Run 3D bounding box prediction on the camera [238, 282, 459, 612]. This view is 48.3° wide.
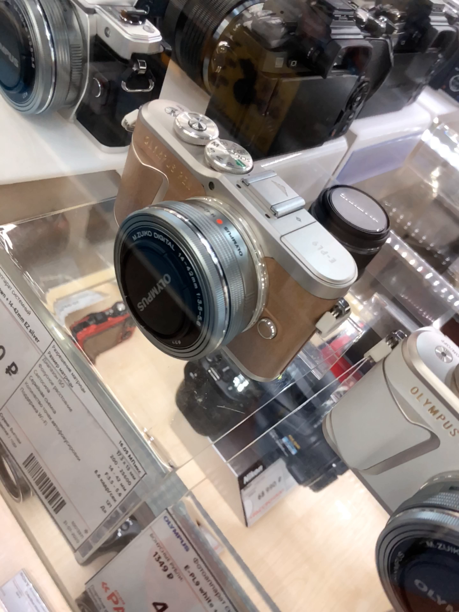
[{"bbox_3d":[0.073,0.064,0.159,0.060,0.060,0.122,-26,66,-40],"label":"camera"}]

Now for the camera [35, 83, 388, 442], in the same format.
[{"bbox_3d":[-0.014,-0.023,0.200,0.060,0.060,0.122,-26,66,-40],"label":"camera"}]
